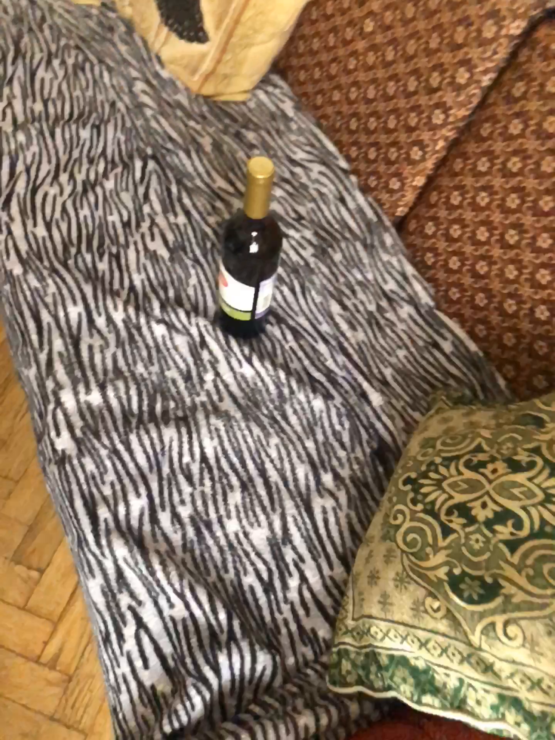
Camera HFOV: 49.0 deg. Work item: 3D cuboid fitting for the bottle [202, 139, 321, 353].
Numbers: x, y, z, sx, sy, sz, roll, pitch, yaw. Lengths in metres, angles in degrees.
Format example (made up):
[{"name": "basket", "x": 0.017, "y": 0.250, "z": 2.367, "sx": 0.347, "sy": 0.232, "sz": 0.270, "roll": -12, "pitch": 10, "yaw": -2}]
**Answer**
[{"name": "bottle", "x": -0.031, "y": -0.133, "z": 0.731, "sx": 0.080, "sy": 0.269, "sz": 0.080, "roll": 4, "pitch": 61, "yaw": -8}]
